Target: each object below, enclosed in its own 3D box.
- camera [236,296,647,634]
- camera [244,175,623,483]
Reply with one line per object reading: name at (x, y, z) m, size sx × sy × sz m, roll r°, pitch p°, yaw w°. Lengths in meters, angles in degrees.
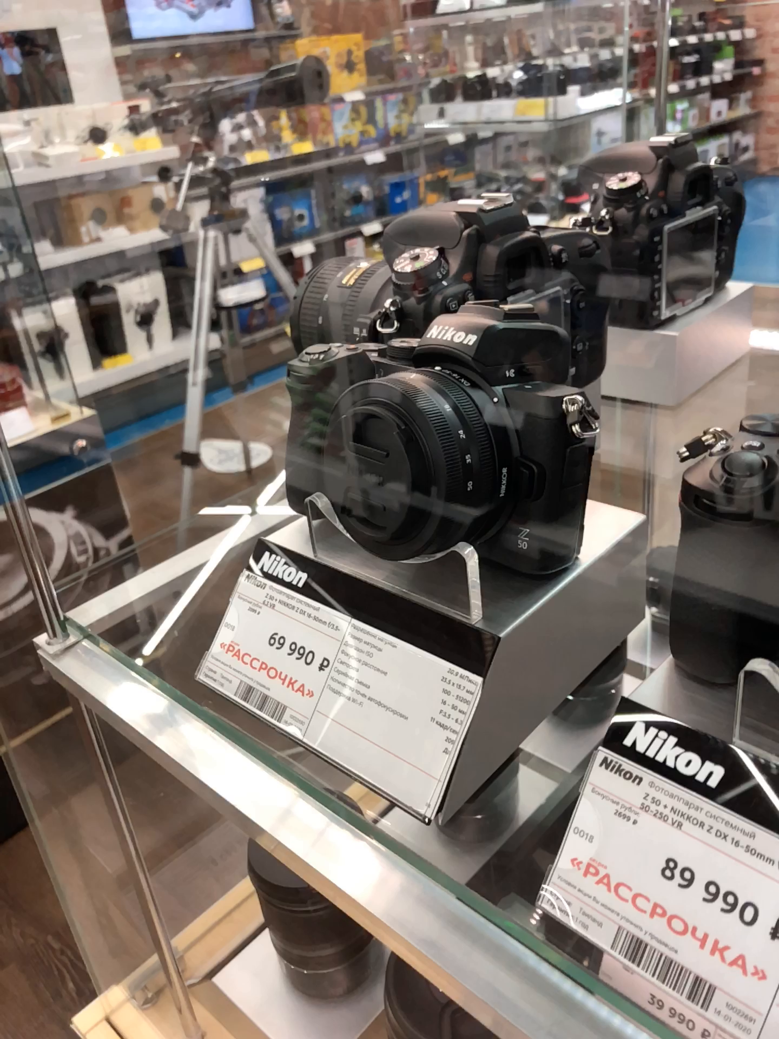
camera at (0.015, -0.033, 0.339) m, size 0.127 × 0.092 × 0.090 m, roll 20°, pitch 26°, yaw 41°
camera at (0.025, -0.116, 0.477) m, size 0.130 × 0.111 × 0.150 m, roll -29°, pitch 37°, yaw -35°
